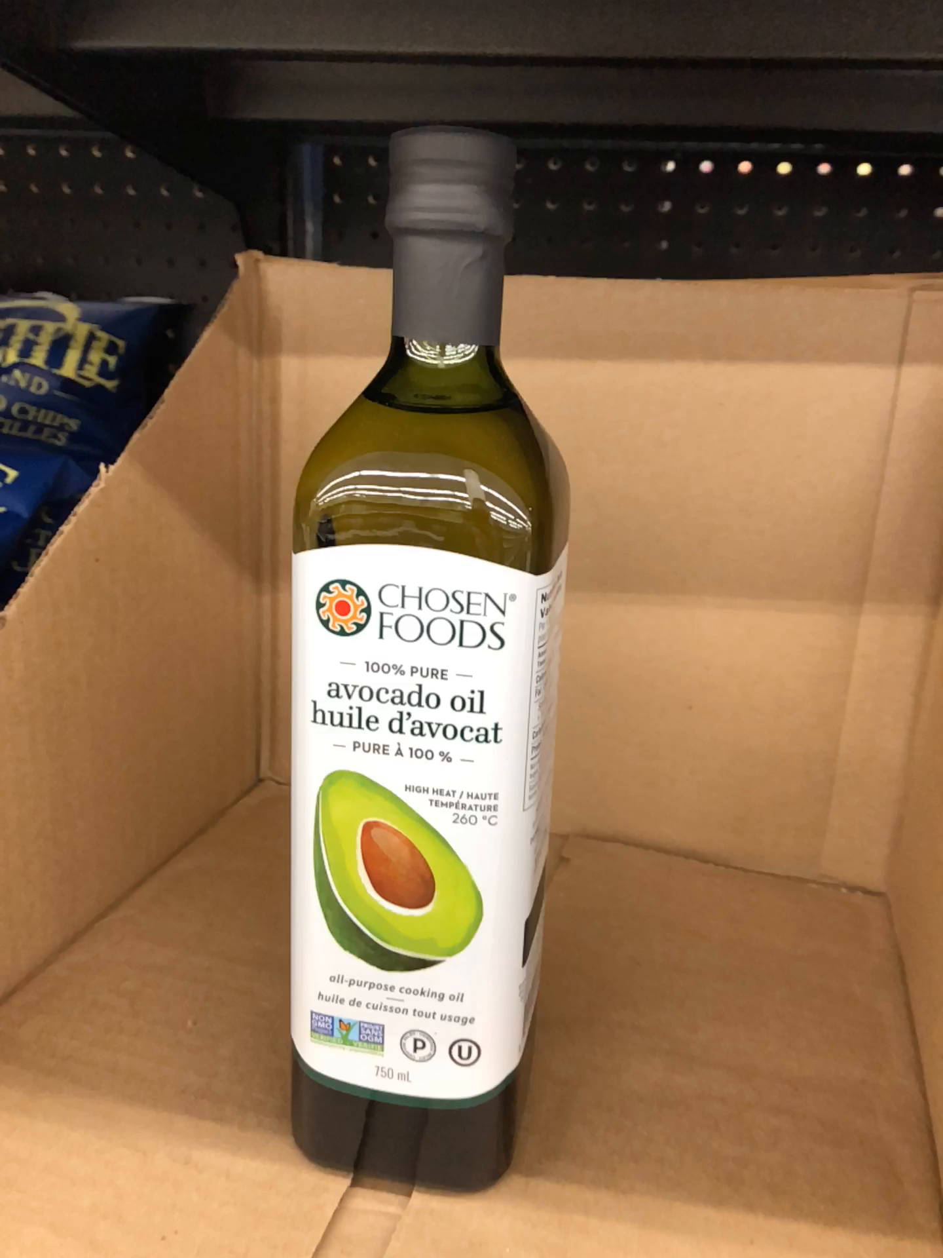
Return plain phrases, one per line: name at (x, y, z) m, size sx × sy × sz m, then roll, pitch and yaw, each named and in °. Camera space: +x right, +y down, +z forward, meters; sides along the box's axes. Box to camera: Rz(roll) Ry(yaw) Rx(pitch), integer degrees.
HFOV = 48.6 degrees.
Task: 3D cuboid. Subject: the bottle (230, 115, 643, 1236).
bottle at (-0.009, 0.023, 0.310) m, size 0.090 × 0.308 × 0.070 m, roll 5°, pitch 19°, yaw 10°
